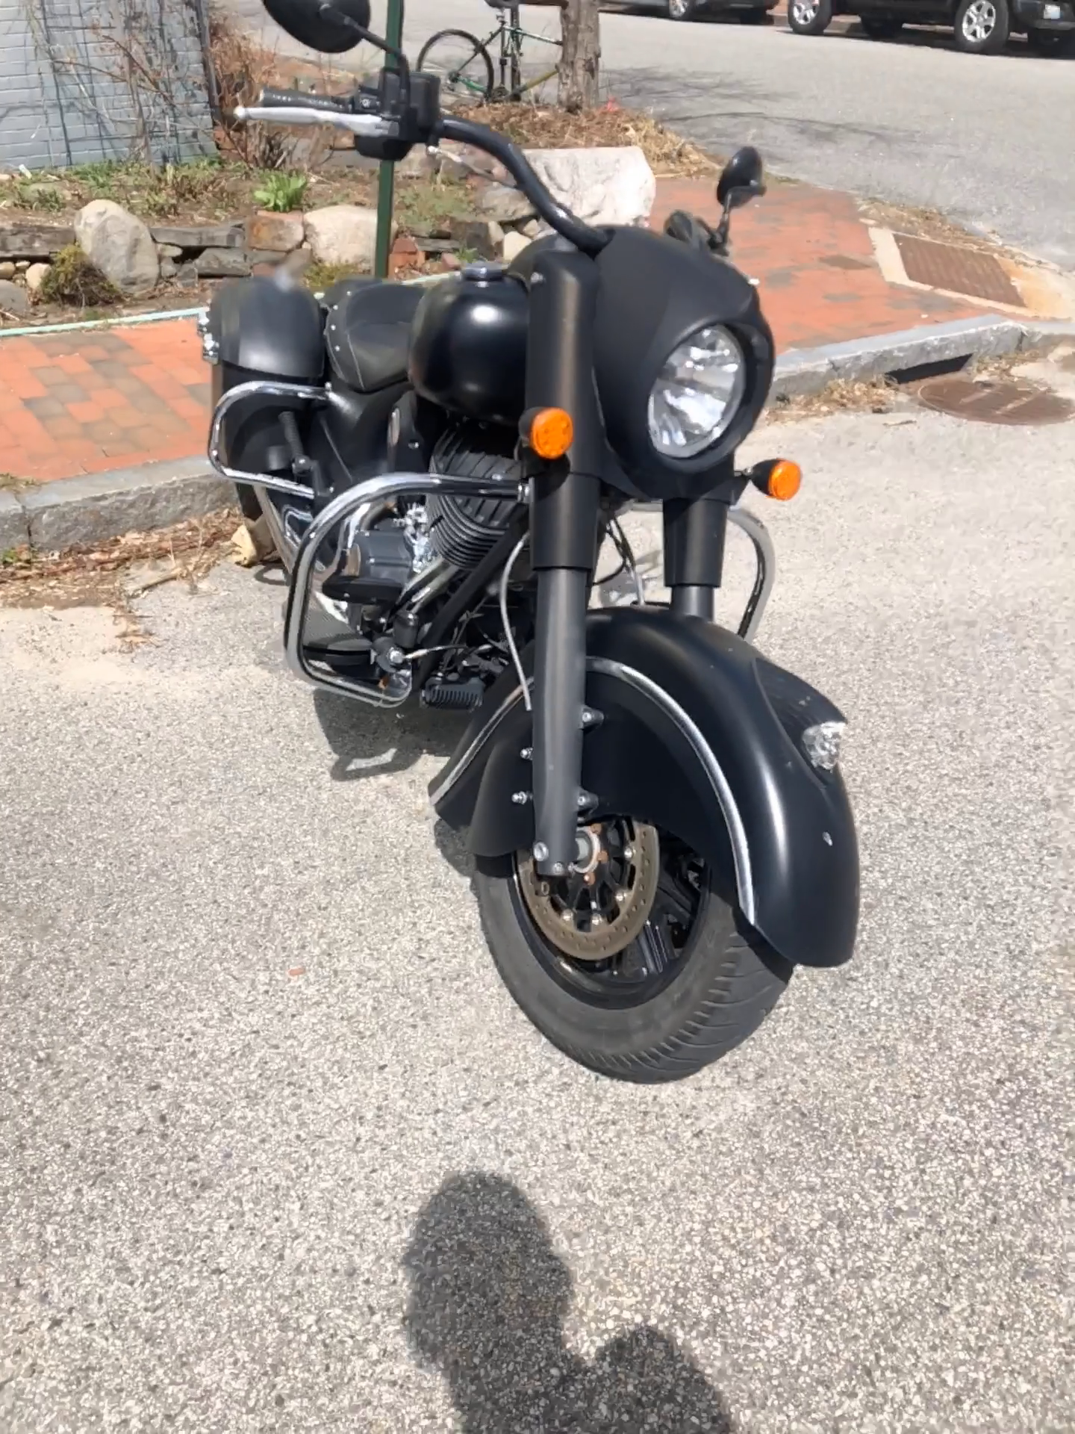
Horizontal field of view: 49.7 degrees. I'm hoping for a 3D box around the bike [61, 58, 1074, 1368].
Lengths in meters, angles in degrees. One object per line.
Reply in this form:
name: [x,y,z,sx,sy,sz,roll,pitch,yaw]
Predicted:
bike: [-0.155,-0.354,2.136,0.857,1.300,2.100,-15,36,-21]
